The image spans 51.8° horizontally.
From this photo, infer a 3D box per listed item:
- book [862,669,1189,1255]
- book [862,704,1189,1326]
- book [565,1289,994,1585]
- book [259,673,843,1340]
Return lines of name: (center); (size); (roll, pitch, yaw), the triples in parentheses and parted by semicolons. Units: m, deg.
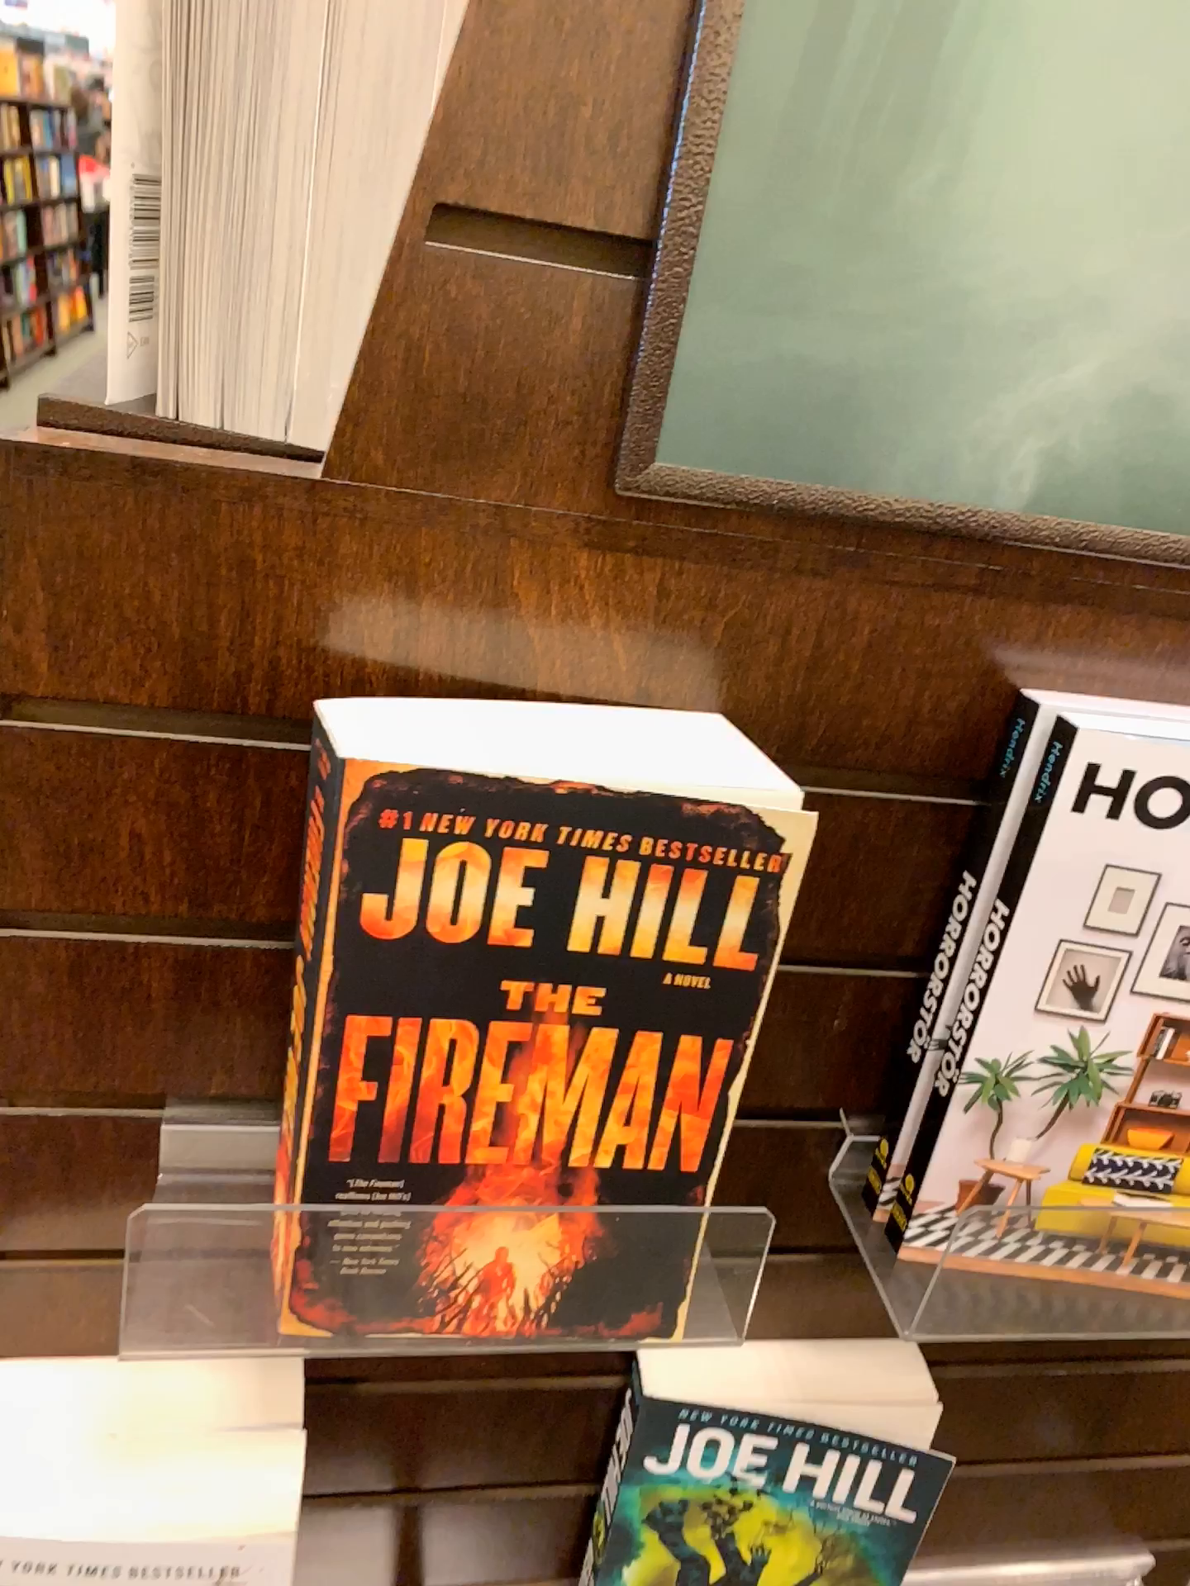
book: (0.220, 0.071, 0.460); (0.188, 0.208, 0.026); (9, 21, -4)
book: (0.213, 0.085, 0.427); (0.188, 0.208, 0.026); (9, 21, -4)
book: (0.080, 0.353, 0.600); (0.159, 0.201, 0.062); (9, 22, -4)
book: (-0.024, 0.072, 0.390); (0.146, 0.194, 0.070); (4, 22, -13)
